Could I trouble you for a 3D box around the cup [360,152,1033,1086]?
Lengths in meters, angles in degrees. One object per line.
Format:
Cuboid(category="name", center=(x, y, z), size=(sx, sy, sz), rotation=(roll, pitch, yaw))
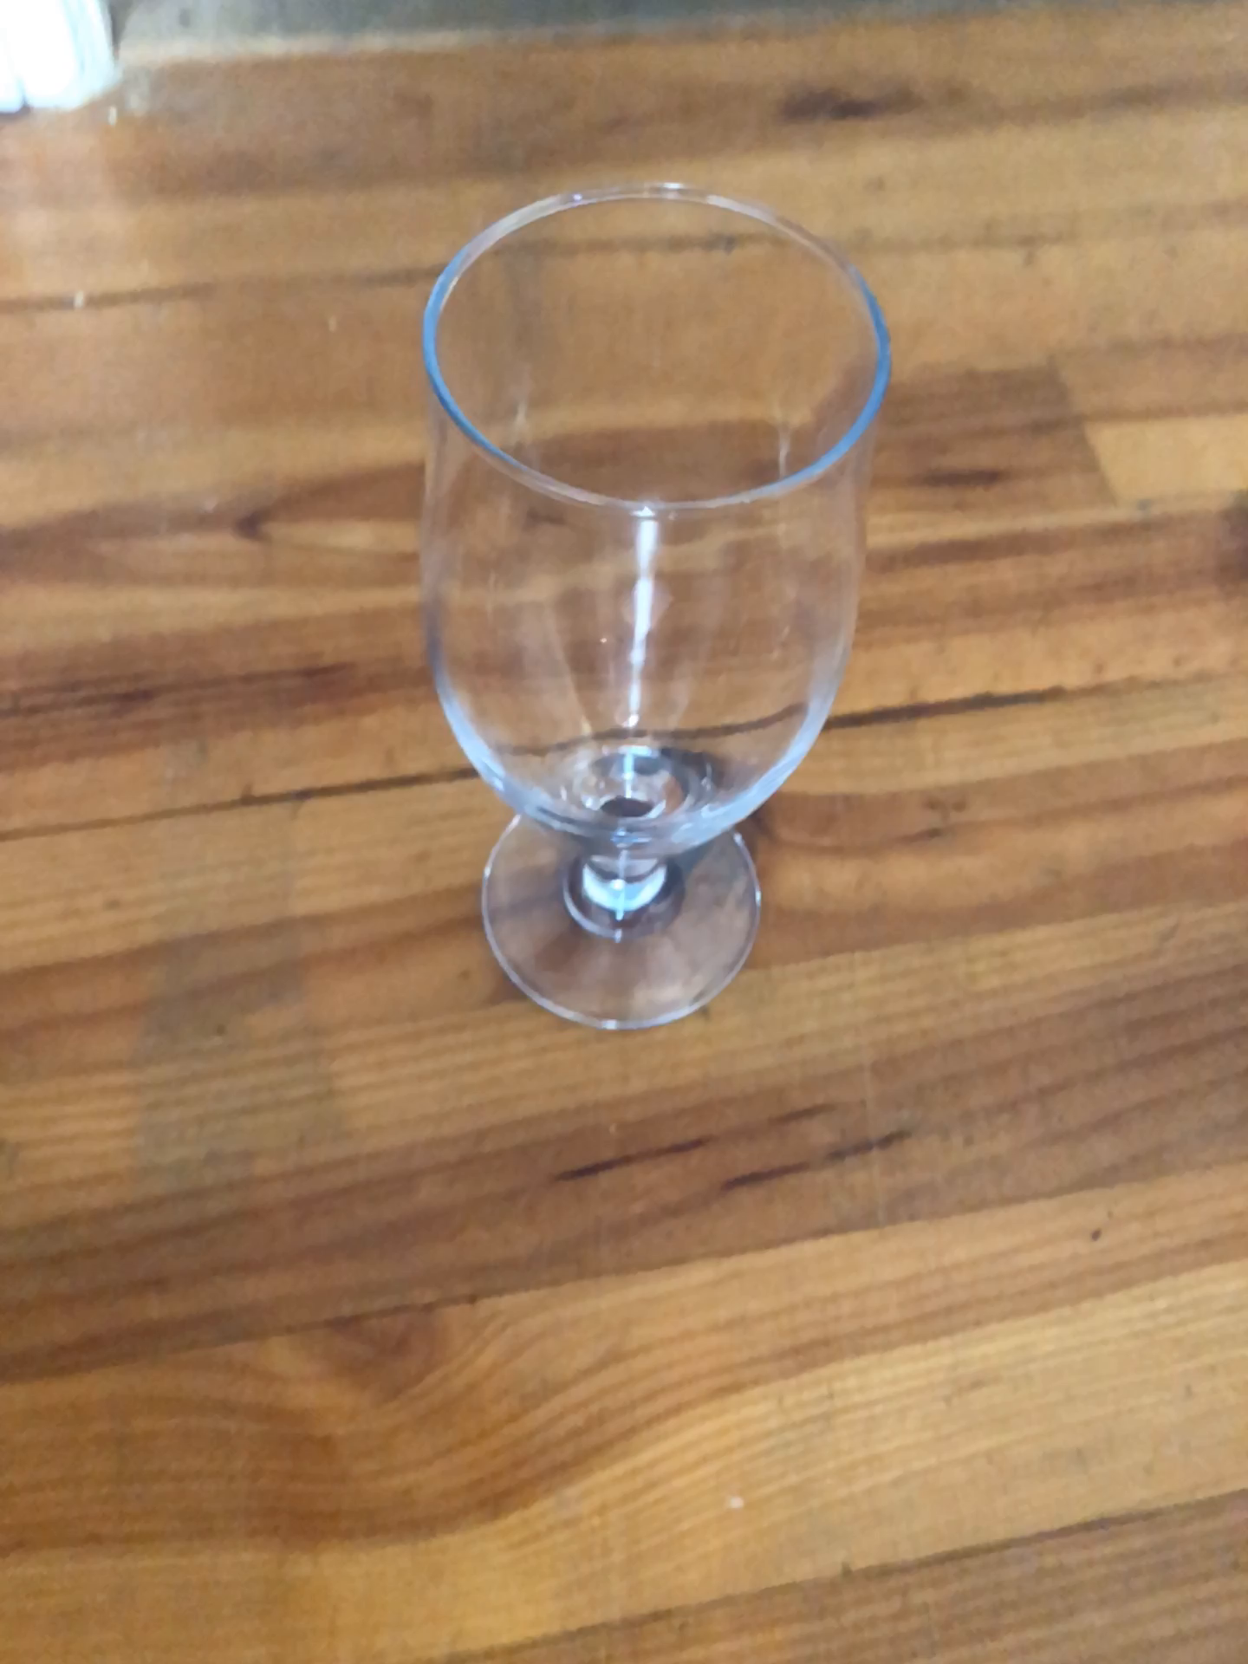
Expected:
Cuboid(category="cup", center=(0.002, -0.027, 0.287), size=(0.081, 0.183, 0.083), rotation=(2, 60, -3))
